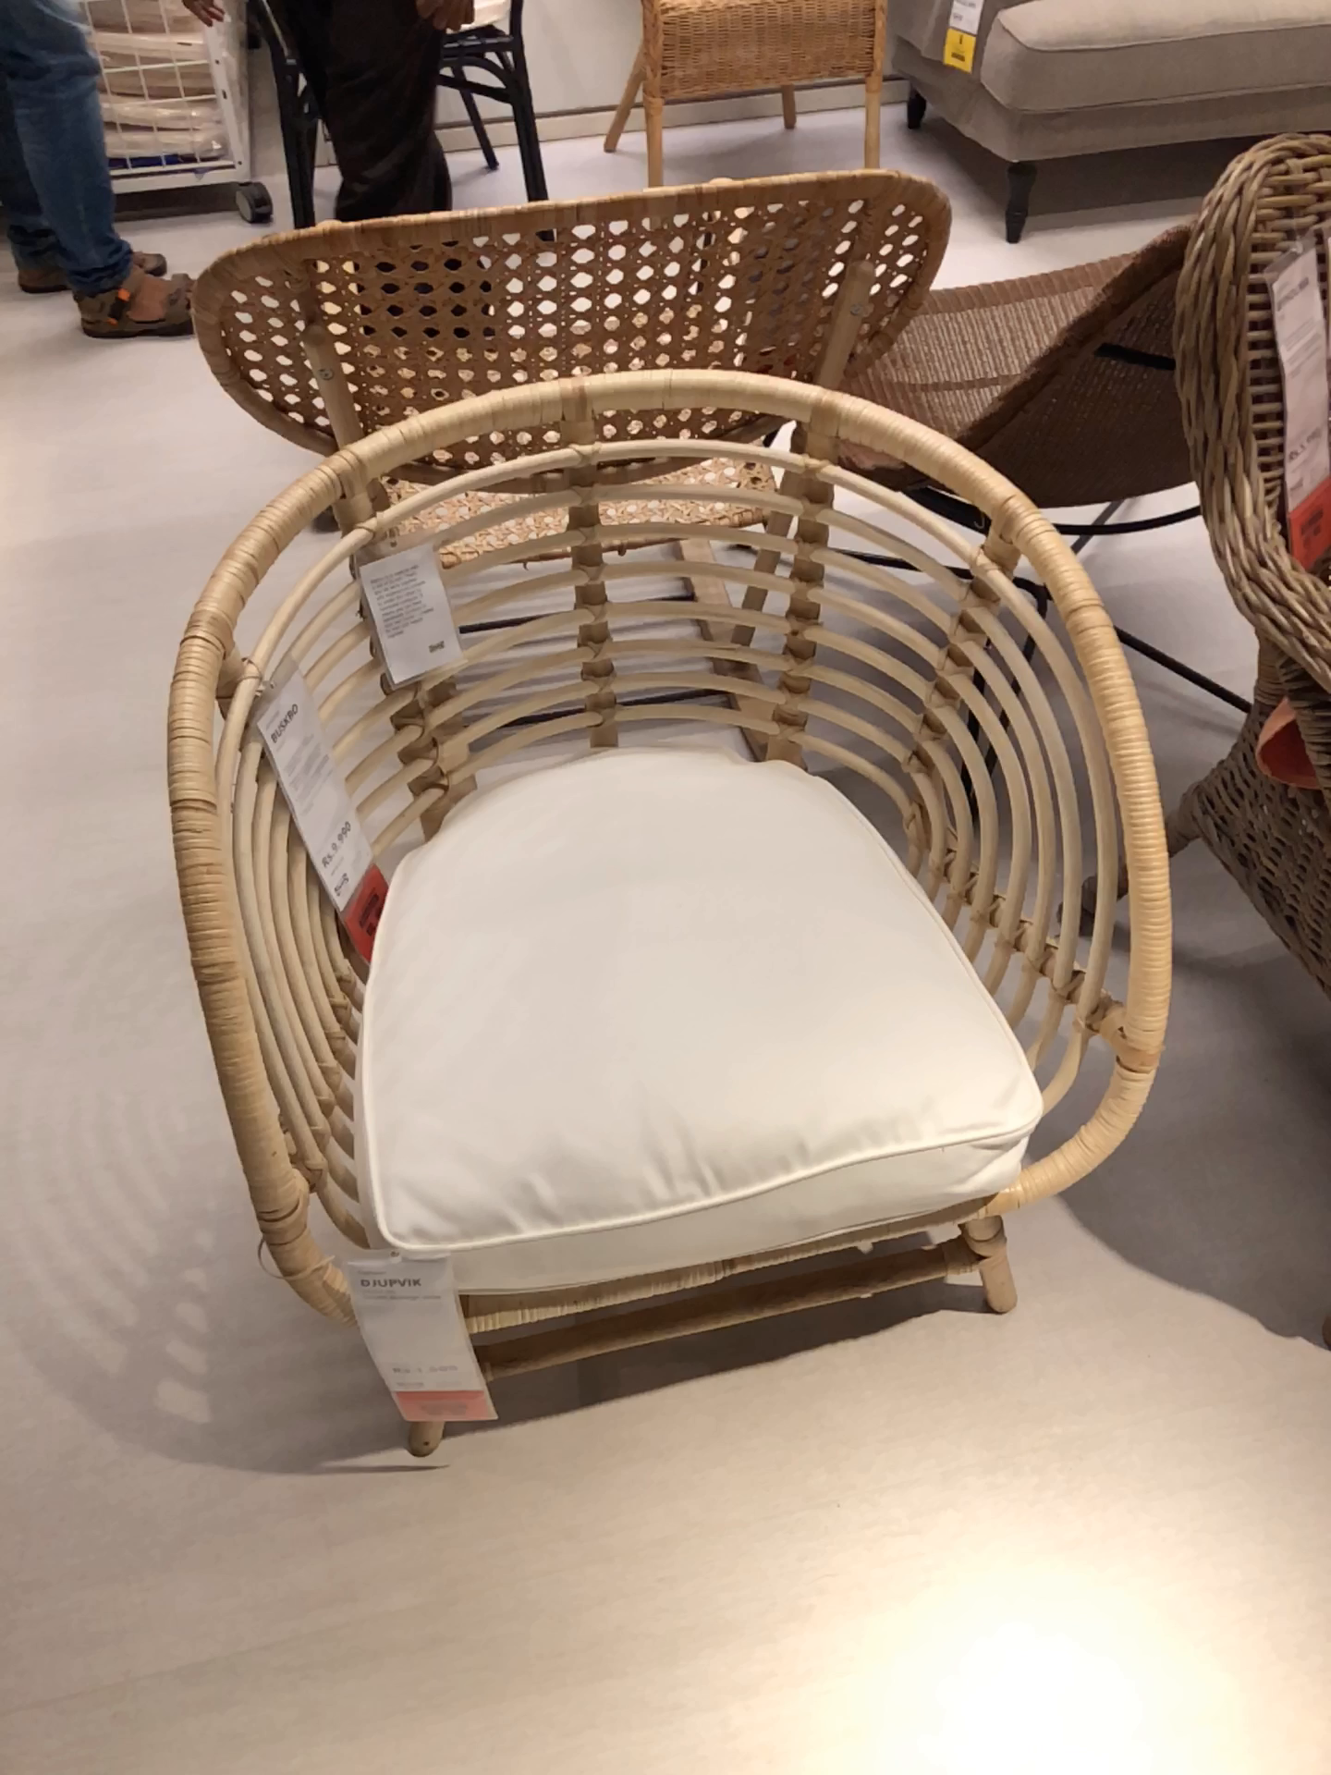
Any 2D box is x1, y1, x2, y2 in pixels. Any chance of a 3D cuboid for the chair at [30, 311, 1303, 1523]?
[{"bbox_3d":[-0.040,0.027,1.392,0.780,0.775,0.704,-10,47,-7],"label":"chair"}]
